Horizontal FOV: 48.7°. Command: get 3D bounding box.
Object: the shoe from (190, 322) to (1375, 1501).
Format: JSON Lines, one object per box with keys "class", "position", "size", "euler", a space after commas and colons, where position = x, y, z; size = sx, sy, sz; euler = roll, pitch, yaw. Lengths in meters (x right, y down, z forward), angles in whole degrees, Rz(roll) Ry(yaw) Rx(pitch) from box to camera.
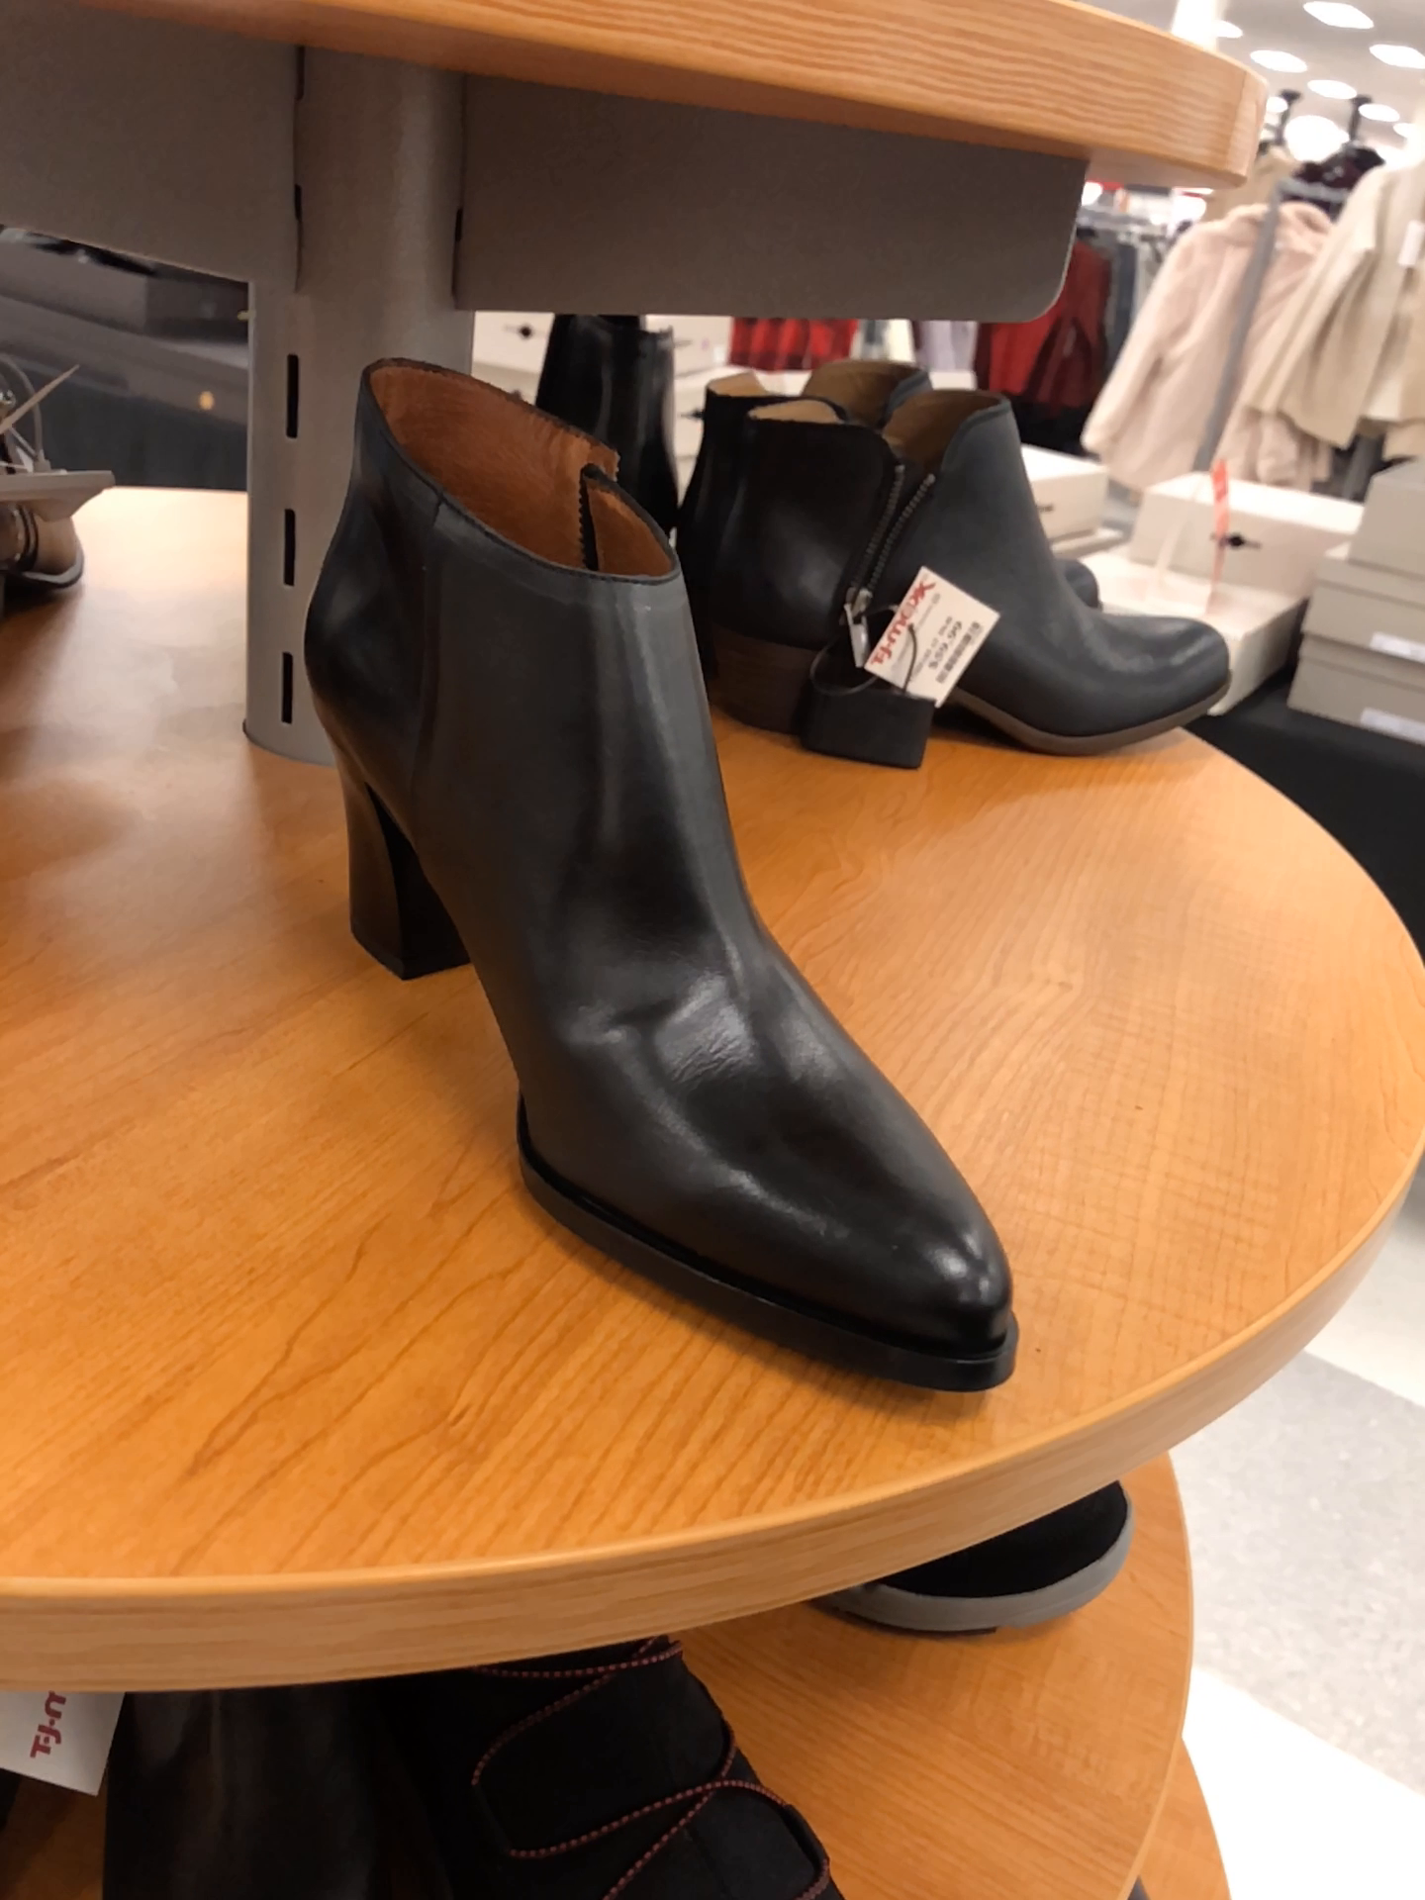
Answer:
{"class": "shoe", "position": [-0.015, -0.036, 0.361], "size": [0.101, 0.156, 0.258], "euler": [-14, 35, -39]}
